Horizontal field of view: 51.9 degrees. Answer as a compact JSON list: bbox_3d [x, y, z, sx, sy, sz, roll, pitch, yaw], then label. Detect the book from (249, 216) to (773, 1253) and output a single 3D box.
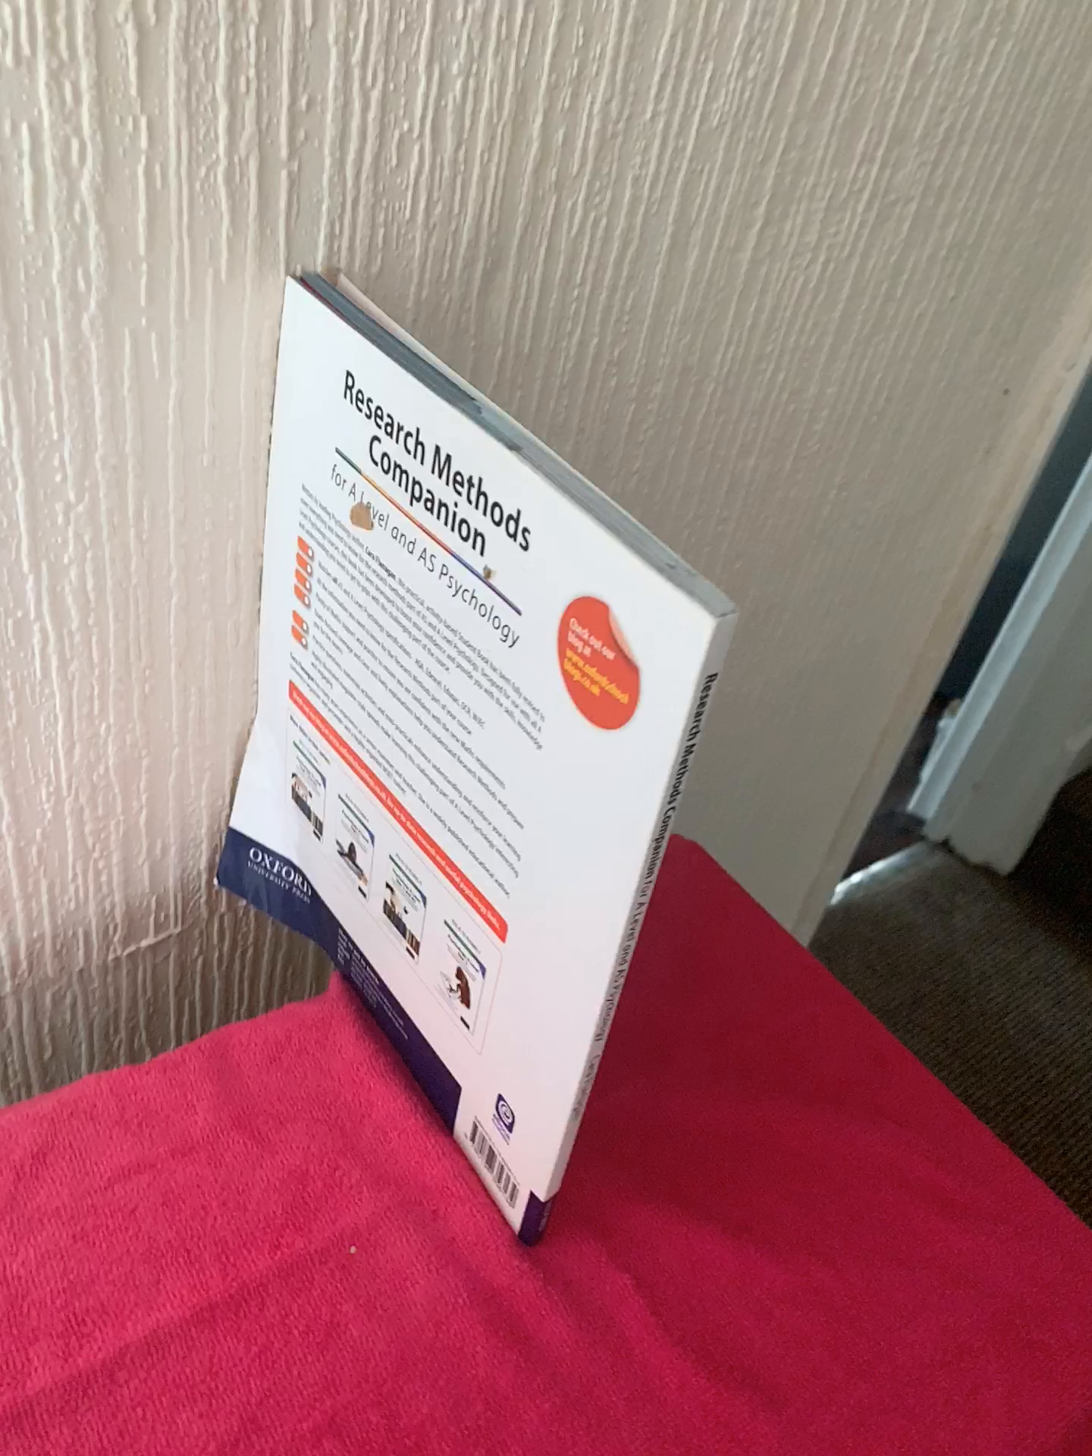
[{"bbox_3d":[-0.047,0.006,0.406,0.020,0.287,0.252,-17,46,-30],"label":"book"}]
